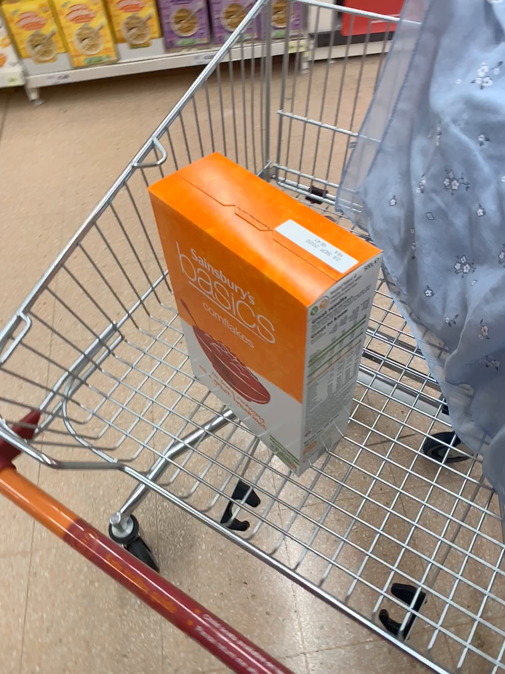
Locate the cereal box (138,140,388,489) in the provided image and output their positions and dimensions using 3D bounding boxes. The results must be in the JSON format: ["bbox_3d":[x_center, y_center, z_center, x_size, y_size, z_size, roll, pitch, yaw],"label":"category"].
[{"bbox_3d":[0.006,-0.006,0.531,0.080,0.308,0.211,-36,58,-24],"label":"cereal box"}]
